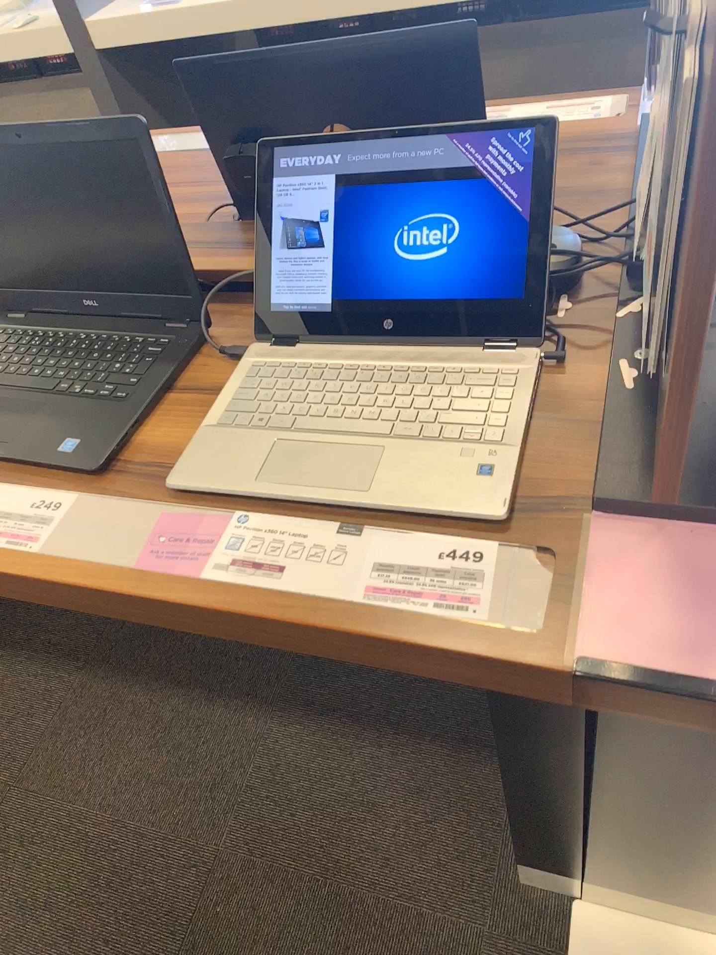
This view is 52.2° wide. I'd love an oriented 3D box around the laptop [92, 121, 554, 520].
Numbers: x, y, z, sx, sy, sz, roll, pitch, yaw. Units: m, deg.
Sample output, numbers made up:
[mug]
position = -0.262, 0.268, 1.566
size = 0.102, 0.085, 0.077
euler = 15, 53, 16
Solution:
[laptop]
position = 0.003, -0.164, 0.684
size = 0.313, 0.154, 0.363
euler = 4, 48, 20
